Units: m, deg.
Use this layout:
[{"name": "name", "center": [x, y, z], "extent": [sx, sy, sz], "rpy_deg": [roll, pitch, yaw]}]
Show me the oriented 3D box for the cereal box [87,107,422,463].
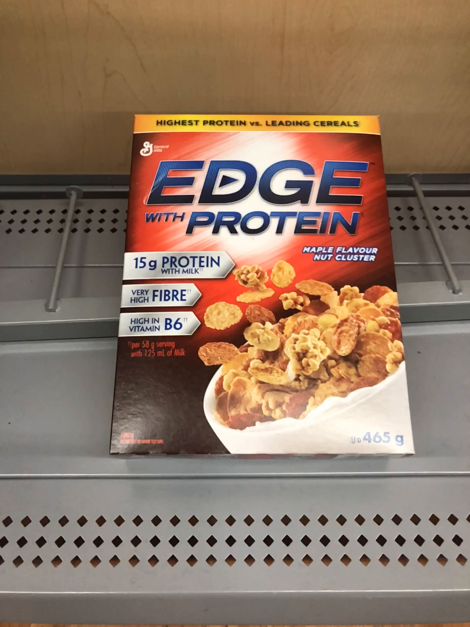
[{"name": "cereal box", "center": [0.013, -0.027, 0.390], "extent": [0.200, 0.070, 0.261], "rpy_deg": [0, 69, 1]}]
